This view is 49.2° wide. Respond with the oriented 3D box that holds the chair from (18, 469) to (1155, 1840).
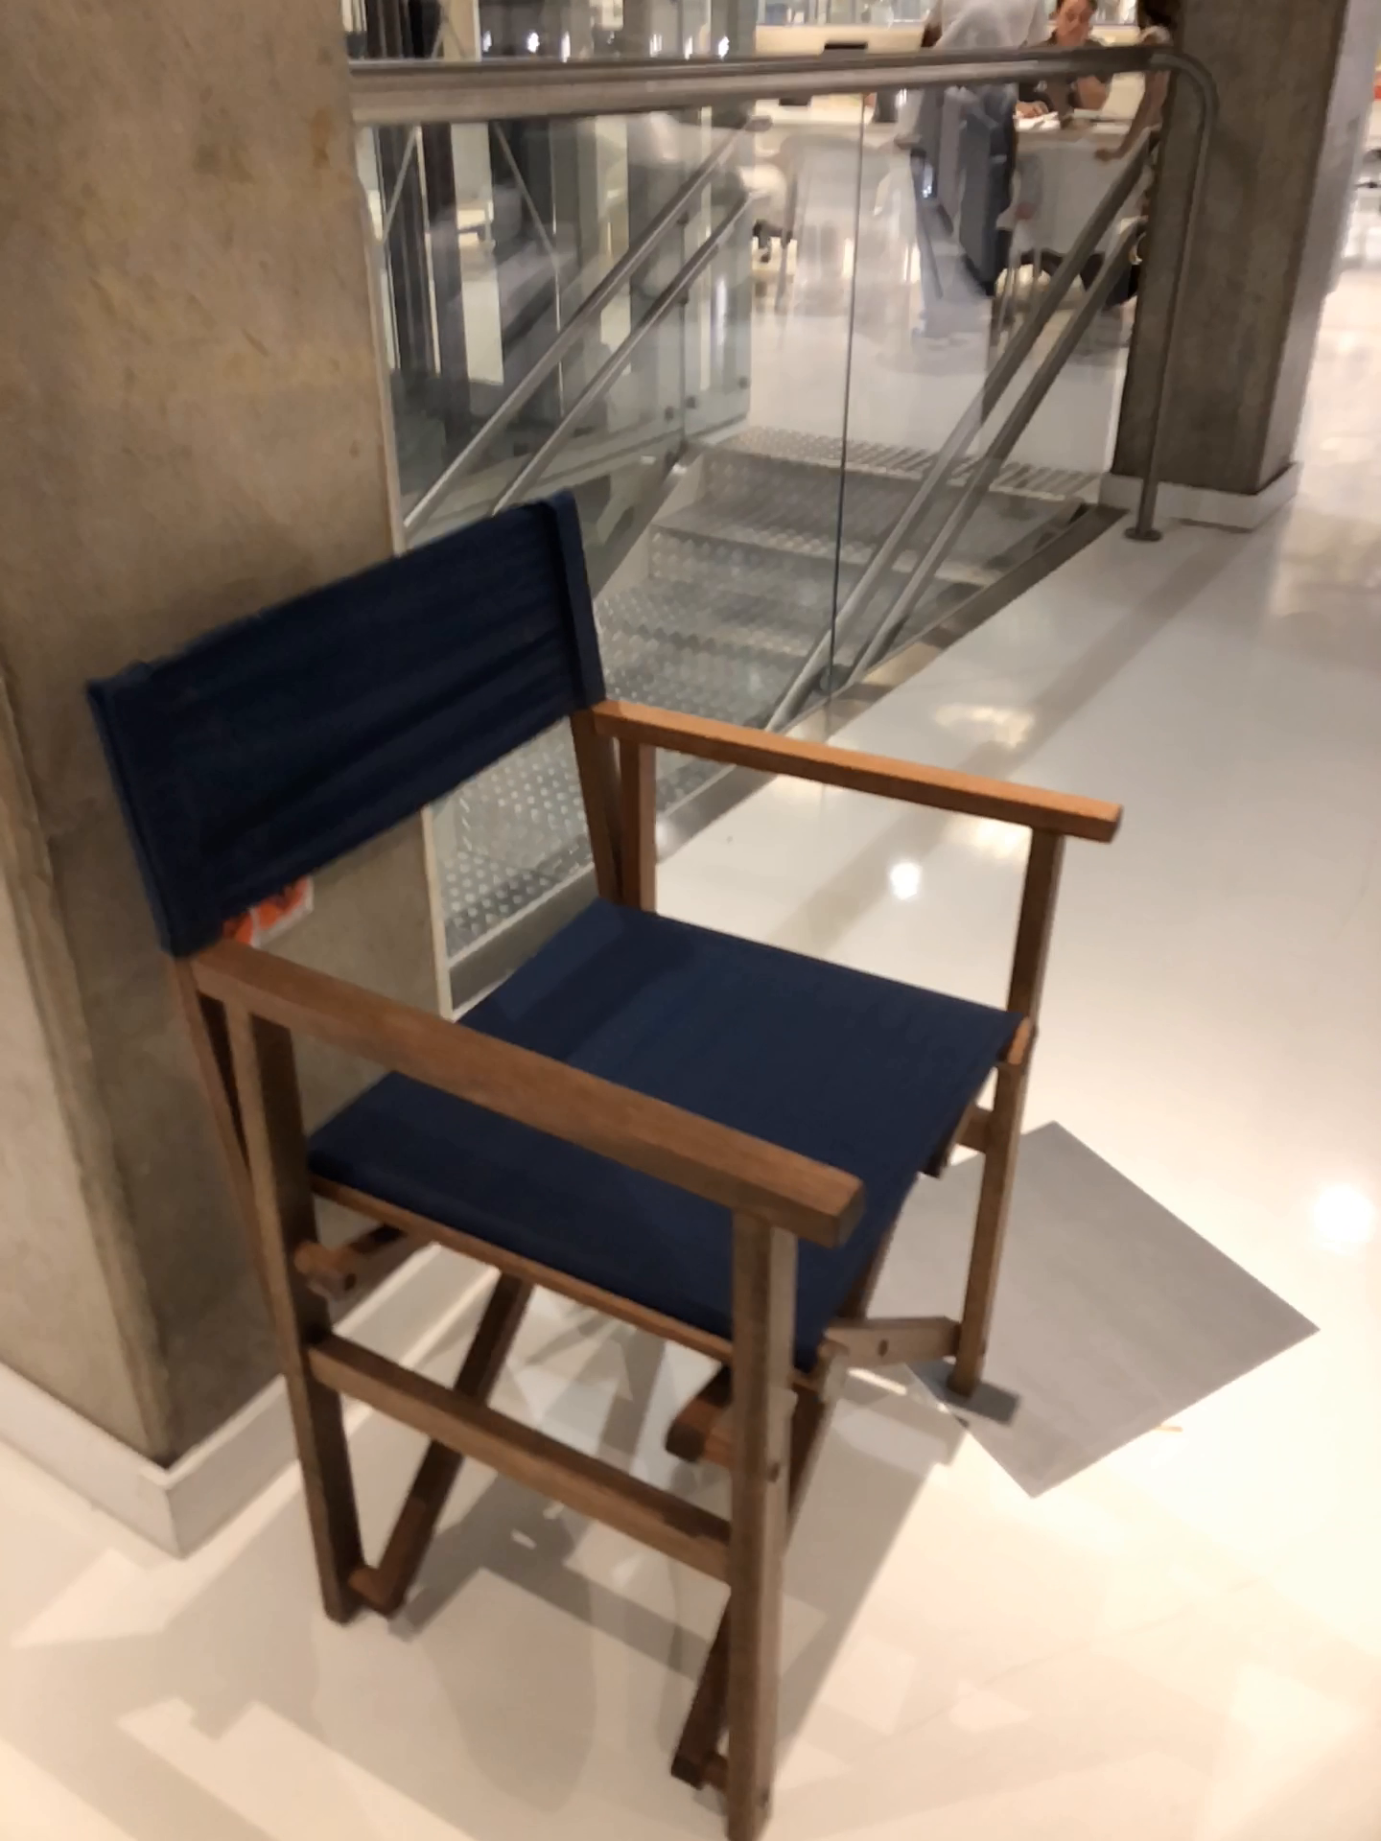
[{"bbox_3d":[-0.027,0.137,1.173,0.501,0.774,0.584,16,34,26],"label":"chair"}]
